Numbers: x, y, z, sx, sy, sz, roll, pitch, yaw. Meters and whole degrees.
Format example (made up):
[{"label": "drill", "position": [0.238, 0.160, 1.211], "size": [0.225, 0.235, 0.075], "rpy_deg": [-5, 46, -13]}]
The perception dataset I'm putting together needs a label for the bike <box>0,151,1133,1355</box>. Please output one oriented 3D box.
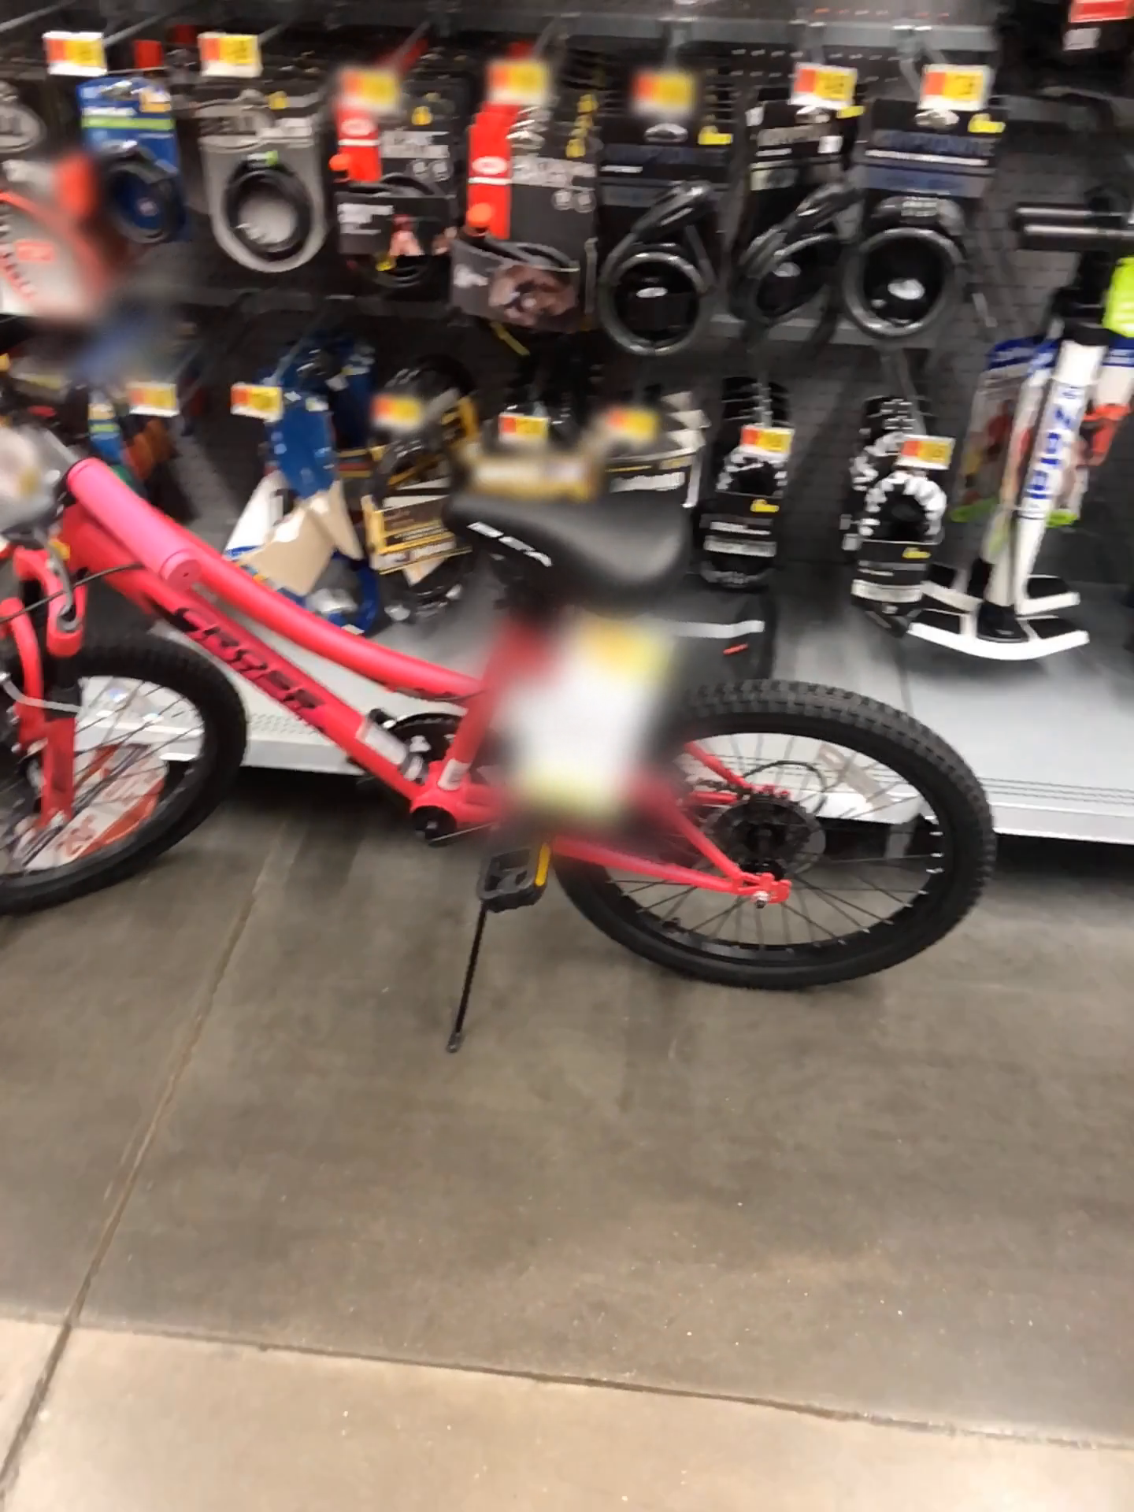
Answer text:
[{"label": "bike", "position": [-0.180, 0.014, 1.116], "size": [1.223, 0.877, 0.611], "rpy_deg": [2, 39, 1]}]
